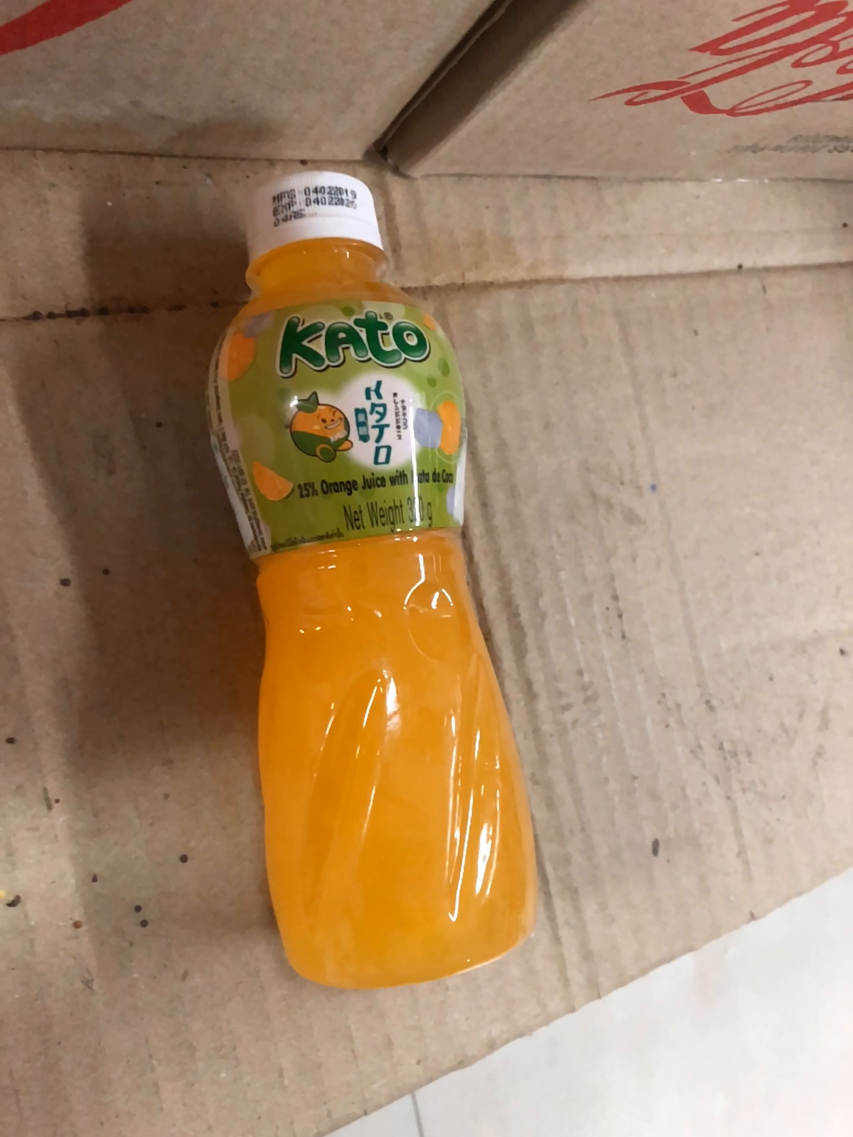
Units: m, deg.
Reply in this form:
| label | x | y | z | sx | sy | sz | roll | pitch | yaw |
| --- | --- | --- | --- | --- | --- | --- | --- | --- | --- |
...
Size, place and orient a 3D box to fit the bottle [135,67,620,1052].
| label | x | y | z | sx | sy | sz | roll | pitch | yaw |
| --- | --- | --- | --- | --- | --- | --- | --- | --- | --- |
| bottle | -0.015 | -0.005 | 0.225 | 0.070 | 0.060 | 0.190 | -7 | 87 | -27 |
